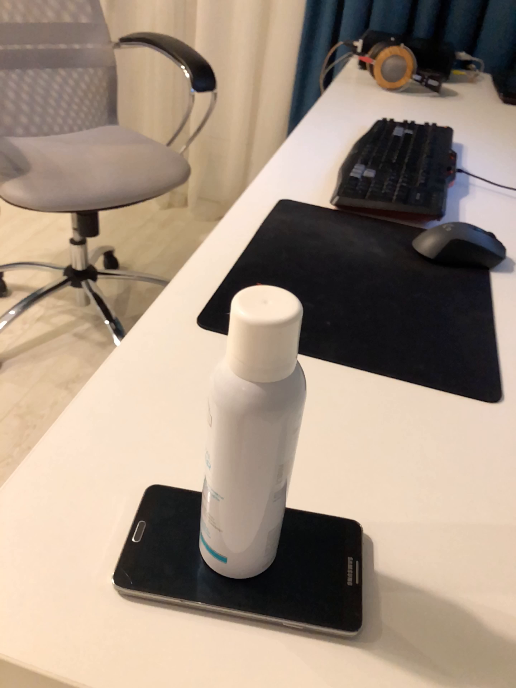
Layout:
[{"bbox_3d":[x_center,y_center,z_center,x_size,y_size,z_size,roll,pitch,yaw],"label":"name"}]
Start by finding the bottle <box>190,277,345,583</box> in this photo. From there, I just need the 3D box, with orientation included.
[{"bbox_3d":[-0.004,0.054,0.311,0.059,0.175,0.054,4,36,-3],"label":"bottle"}]
